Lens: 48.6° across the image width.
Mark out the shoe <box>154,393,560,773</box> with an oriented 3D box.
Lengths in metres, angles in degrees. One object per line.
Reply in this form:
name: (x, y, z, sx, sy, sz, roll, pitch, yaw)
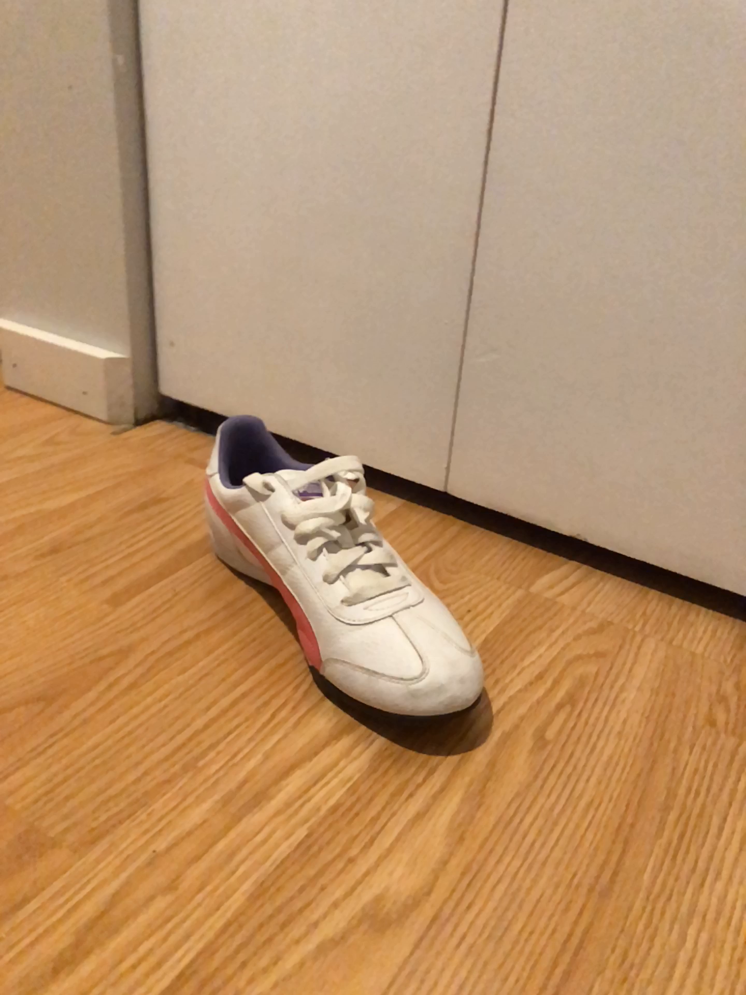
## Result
shoe: (-0.028, 0.026, 0.481, 0.100, 0.080, 0.261, -14, 33, -32)
